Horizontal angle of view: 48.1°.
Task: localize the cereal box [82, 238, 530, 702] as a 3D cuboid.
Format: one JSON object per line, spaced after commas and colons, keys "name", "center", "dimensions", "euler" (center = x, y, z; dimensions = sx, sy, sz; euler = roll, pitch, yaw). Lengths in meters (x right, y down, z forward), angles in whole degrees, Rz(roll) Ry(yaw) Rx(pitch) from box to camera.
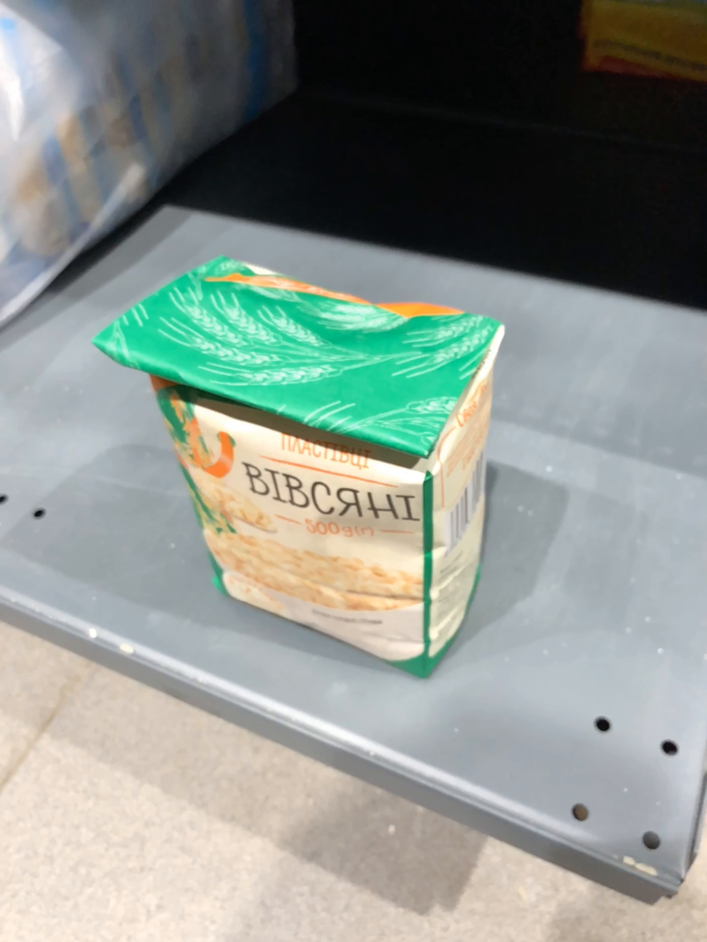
{"name": "cereal box", "center": [-0.010, 0.003, 0.296], "dimensions": [0.120, 0.139, 0.070], "euler": [16, 52, 18]}
